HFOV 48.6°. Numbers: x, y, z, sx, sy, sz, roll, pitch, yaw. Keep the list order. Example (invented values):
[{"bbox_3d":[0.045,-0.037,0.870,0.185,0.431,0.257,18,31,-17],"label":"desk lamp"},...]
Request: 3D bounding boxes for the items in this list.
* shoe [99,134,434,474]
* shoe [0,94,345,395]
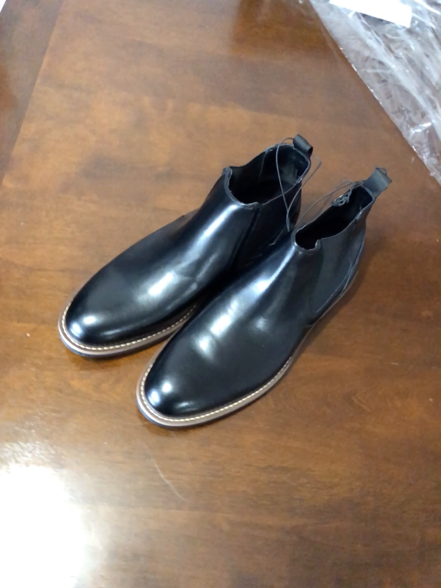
[{"bbox_3d":[0.044,0.009,0.484,0.120,0.170,0.300,42,64,14],"label":"shoe"},{"bbox_3d":[-0.040,-0.053,0.518,0.300,0.170,0.120,-34,72,-23],"label":"shoe"}]
